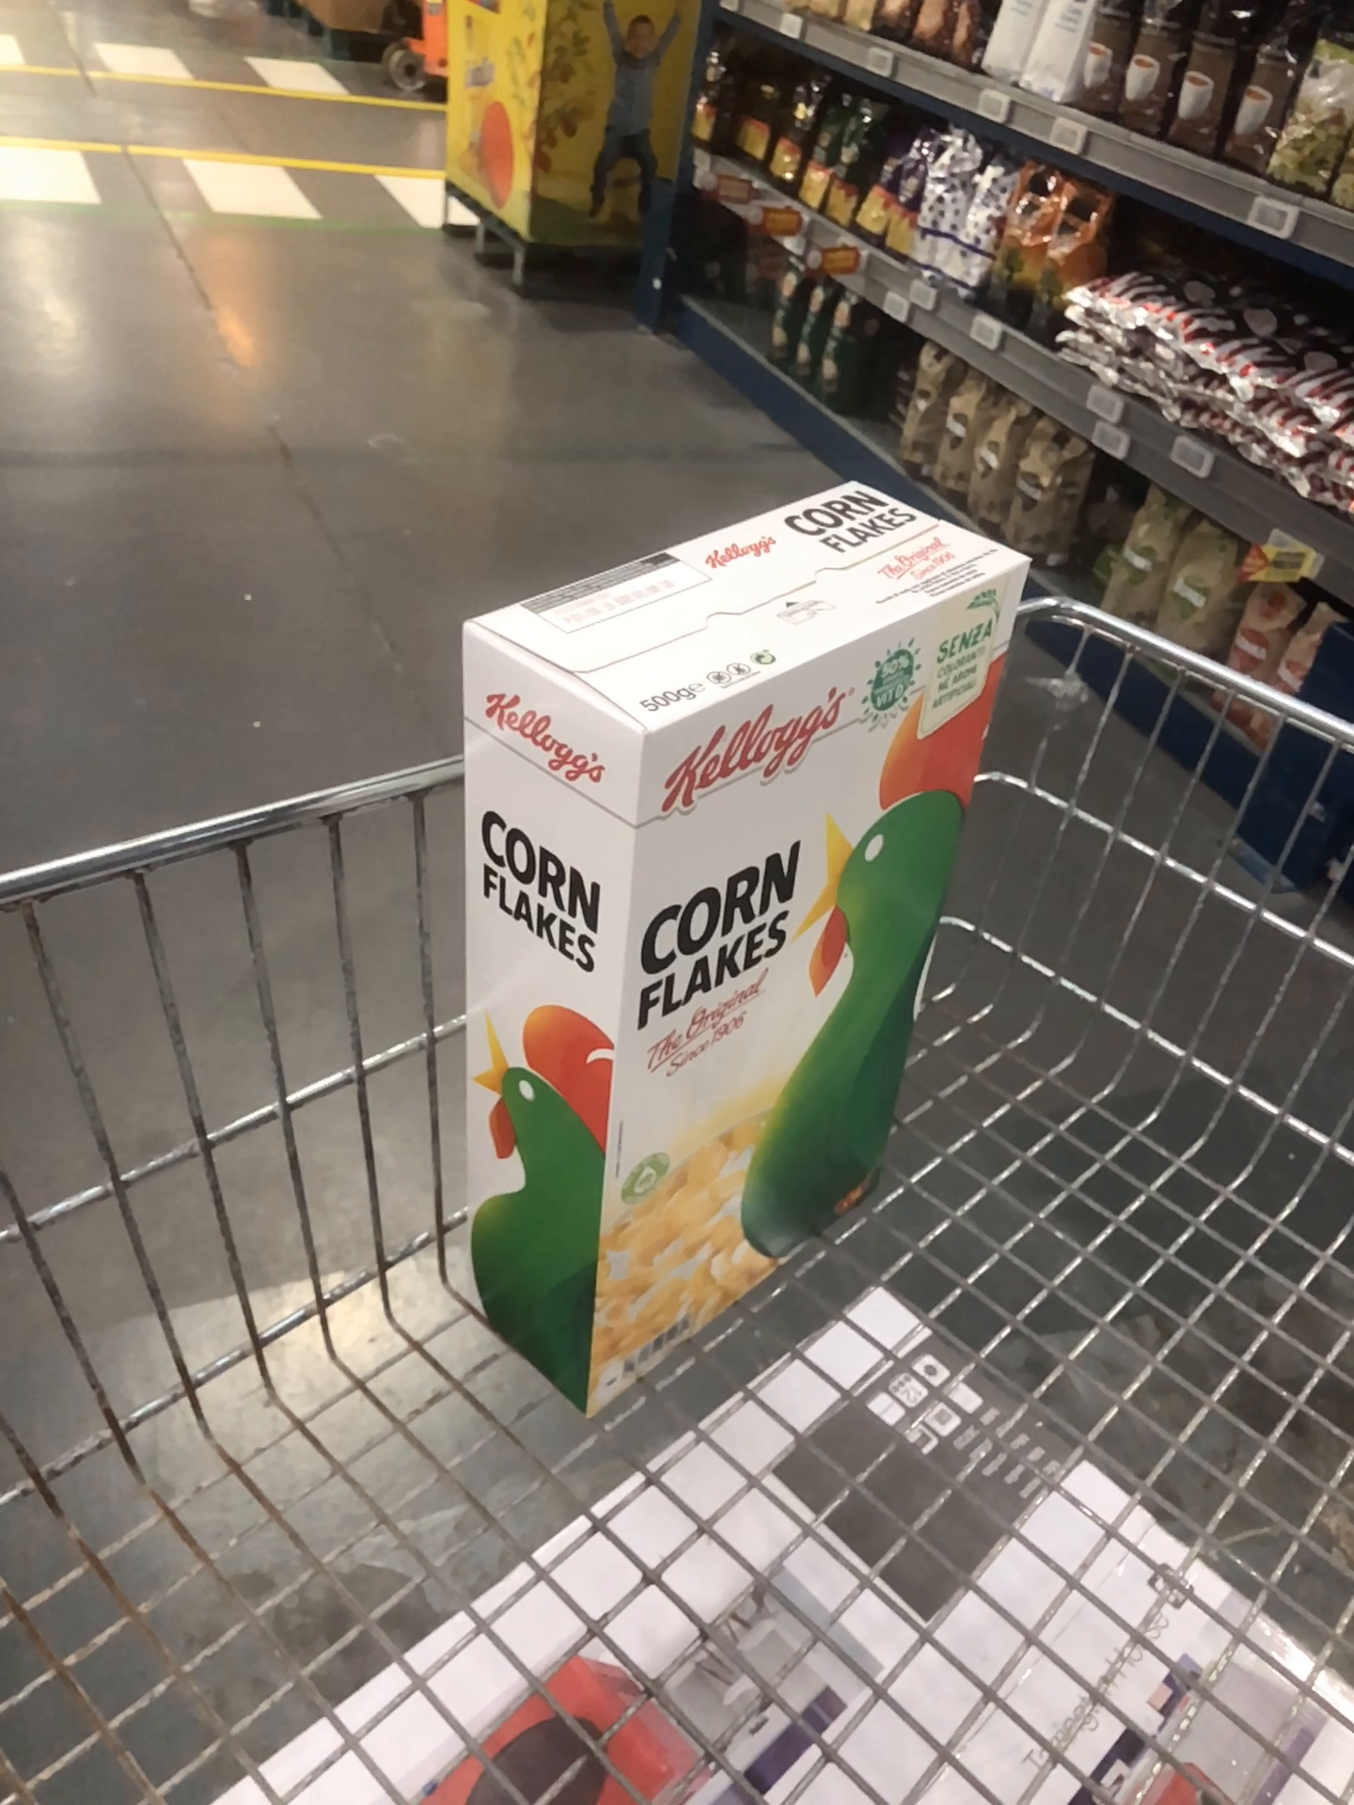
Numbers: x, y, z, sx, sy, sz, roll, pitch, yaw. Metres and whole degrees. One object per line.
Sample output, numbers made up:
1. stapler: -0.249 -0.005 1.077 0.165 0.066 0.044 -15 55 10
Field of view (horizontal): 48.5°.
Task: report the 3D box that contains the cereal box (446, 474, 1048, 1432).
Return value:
1. cereal box: 0.014 0.026 0.587 0.090 0.328 0.191 34 45 30
